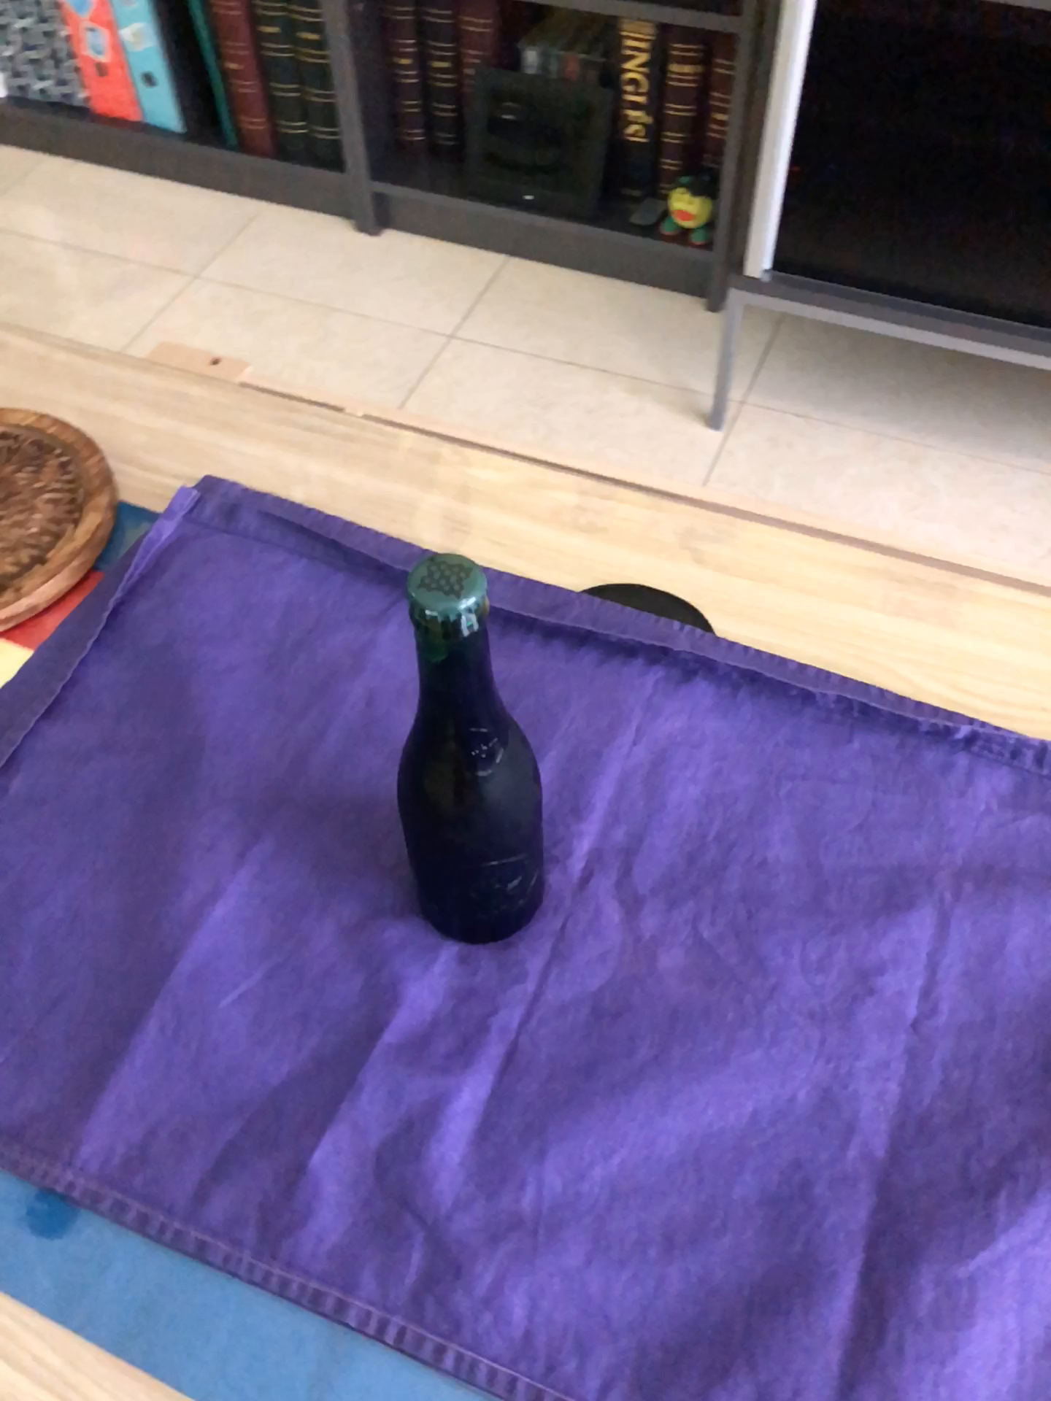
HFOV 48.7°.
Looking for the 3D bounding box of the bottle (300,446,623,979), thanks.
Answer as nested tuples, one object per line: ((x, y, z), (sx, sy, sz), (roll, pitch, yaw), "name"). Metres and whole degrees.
((-0.018, 0.018, 0.470), (0.070, 0.219, 0.080), (36, 62, 25), "bottle")
